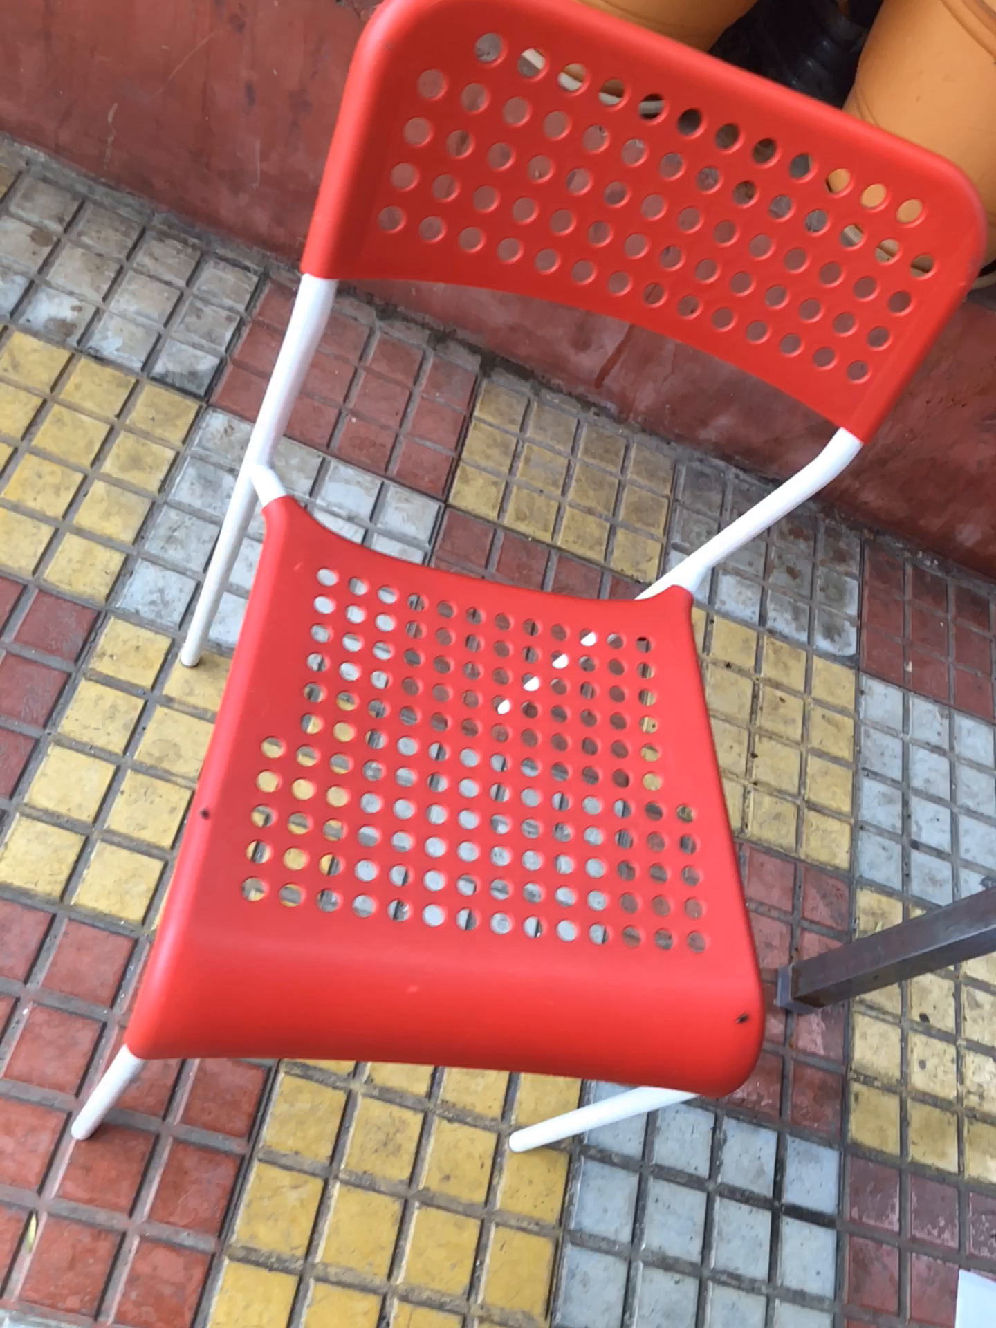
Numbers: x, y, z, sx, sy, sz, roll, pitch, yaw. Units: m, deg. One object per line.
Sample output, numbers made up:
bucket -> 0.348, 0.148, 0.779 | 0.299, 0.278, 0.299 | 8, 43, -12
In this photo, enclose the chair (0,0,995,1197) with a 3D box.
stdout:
chair -> -0.024, 0.032, 0.724 | 0.451, 0.696, 0.542 | 12, 60, -19
